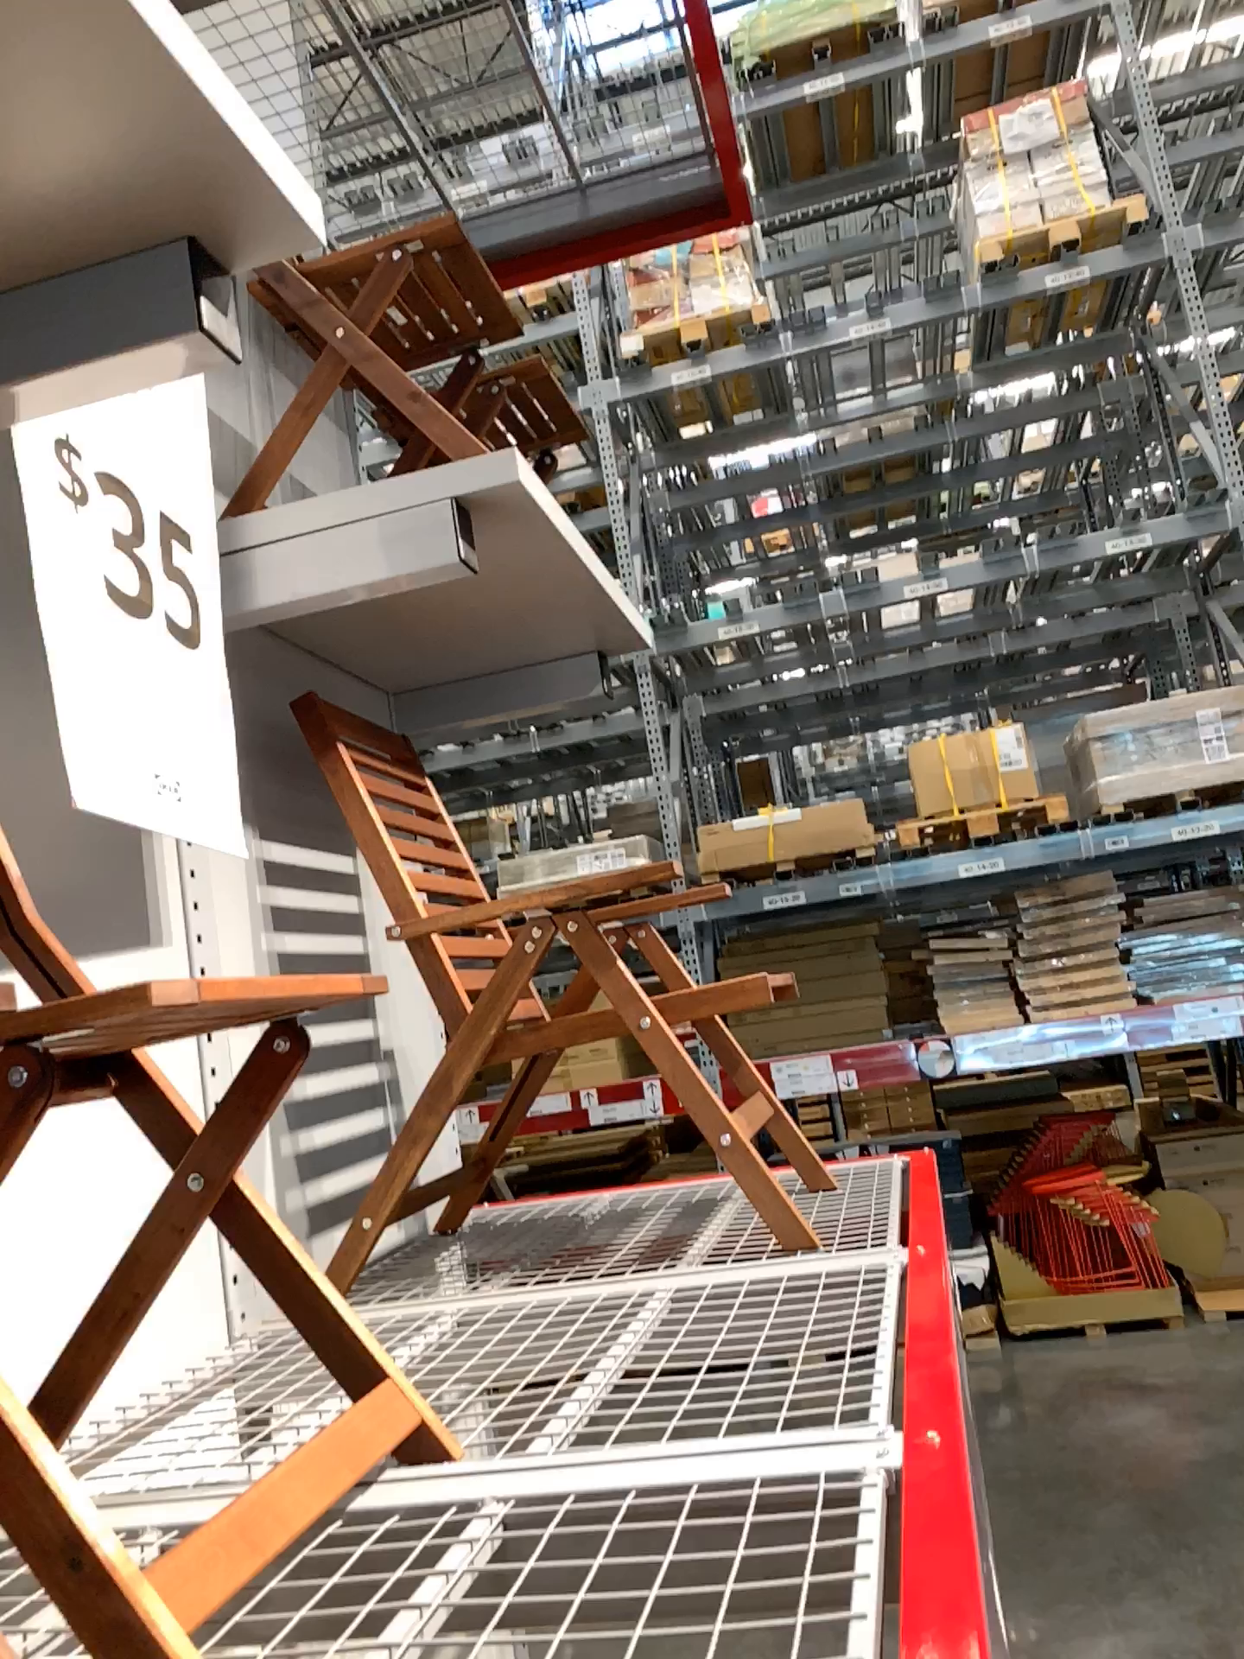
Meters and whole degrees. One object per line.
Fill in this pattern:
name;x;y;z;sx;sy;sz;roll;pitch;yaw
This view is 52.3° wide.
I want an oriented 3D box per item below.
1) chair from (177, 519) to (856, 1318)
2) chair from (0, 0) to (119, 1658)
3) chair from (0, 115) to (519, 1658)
chair;-0.145;0.165;2.187;0.891;1.056;0.614;-11;-9;10
chair;-0.662;0.069;0.389;0.631;0.886;0.614;-11;-9;12
chair;-0.529;0.133;0.977;0.631;0.886;0.614;-11;-9;10
